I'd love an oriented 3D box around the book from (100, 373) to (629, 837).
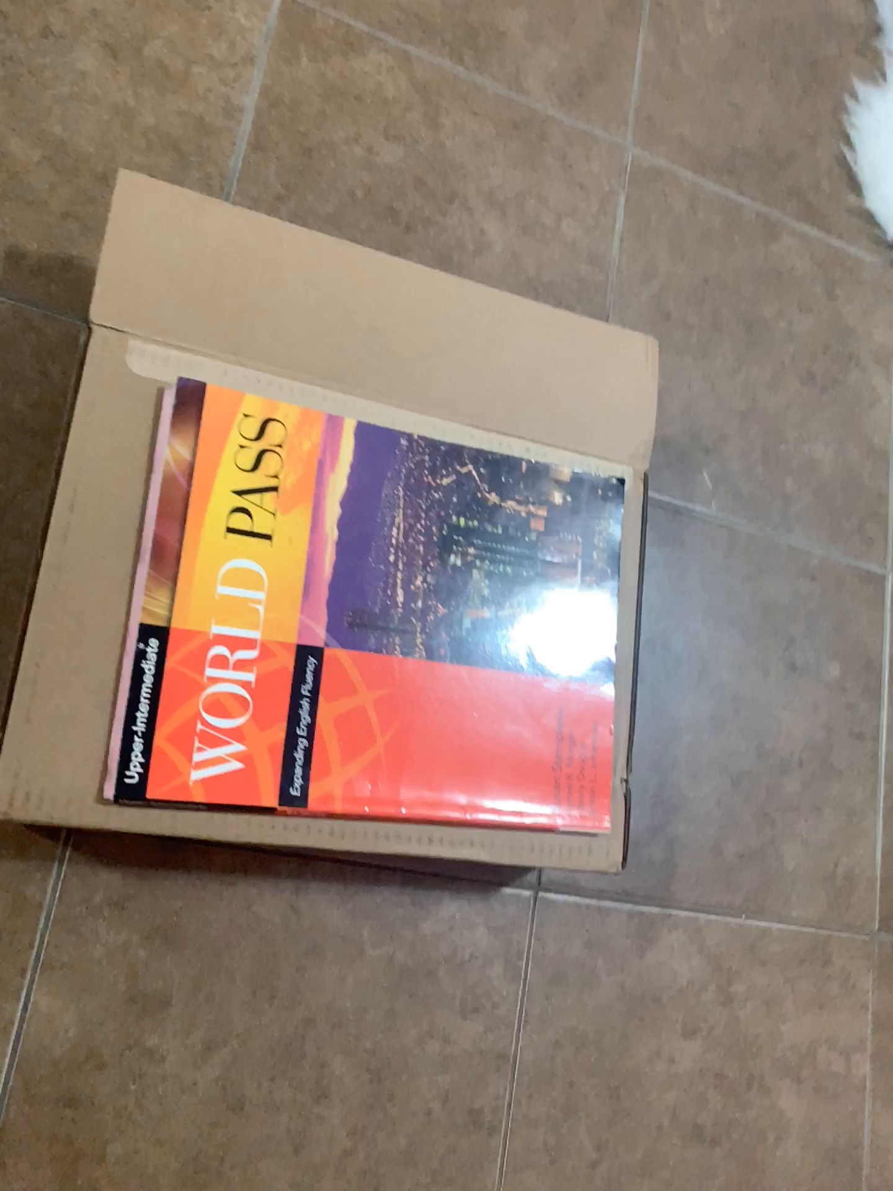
[{"bbox_3d":[-0.027,0.013,0.491,0.270,0.018,0.211,9,77,-20],"label":"book"}]
